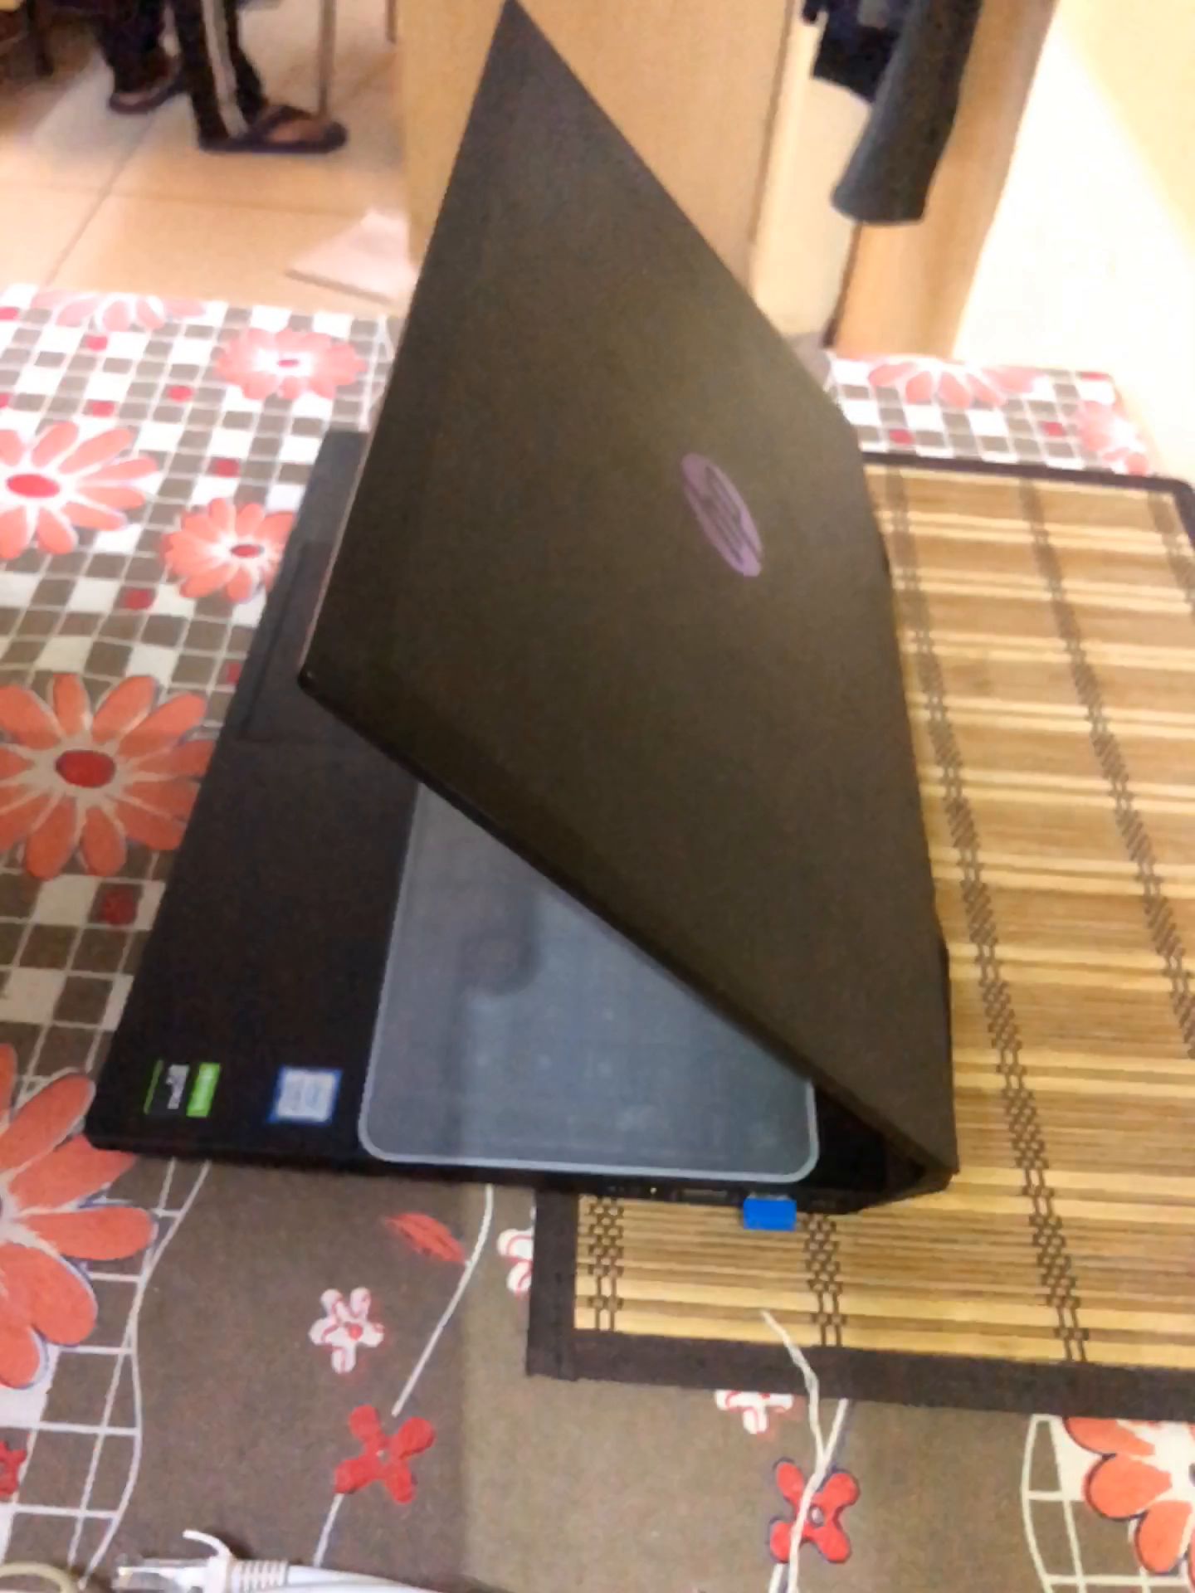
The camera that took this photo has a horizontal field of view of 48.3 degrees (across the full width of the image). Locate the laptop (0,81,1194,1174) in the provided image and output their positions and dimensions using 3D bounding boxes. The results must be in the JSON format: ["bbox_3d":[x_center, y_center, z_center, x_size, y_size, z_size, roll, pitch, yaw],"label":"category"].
[{"bbox_3d":[-0.001,-0.083,0.431,0.236,0.164,0.358,3,46,2],"label":"laptop"}]
